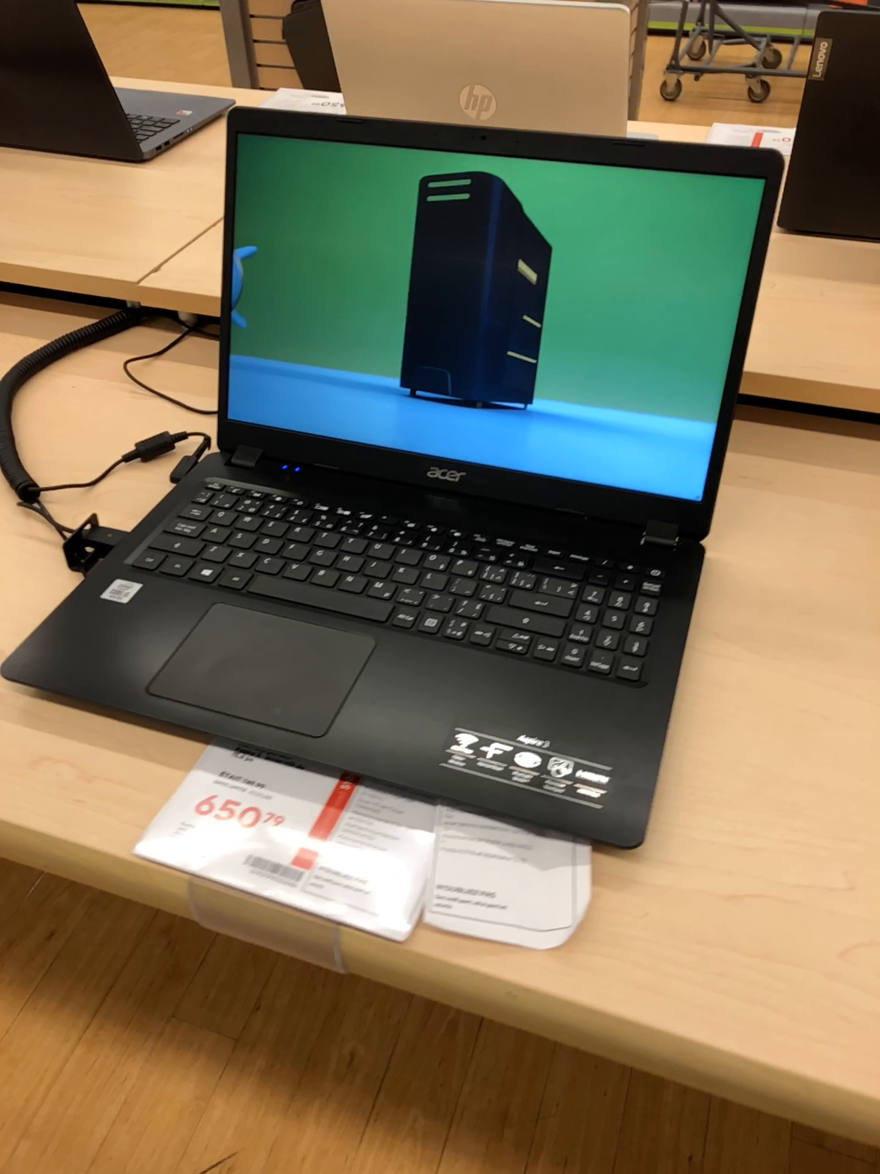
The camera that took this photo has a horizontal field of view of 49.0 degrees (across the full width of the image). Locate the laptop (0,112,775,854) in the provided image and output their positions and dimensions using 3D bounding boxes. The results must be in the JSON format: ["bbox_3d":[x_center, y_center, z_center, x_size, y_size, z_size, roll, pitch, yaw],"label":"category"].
[{"bbox_3d":[-0.027,-0.096,0.545,0.354,0.210,0.328,13,43,15],"label":"laptop"}]
